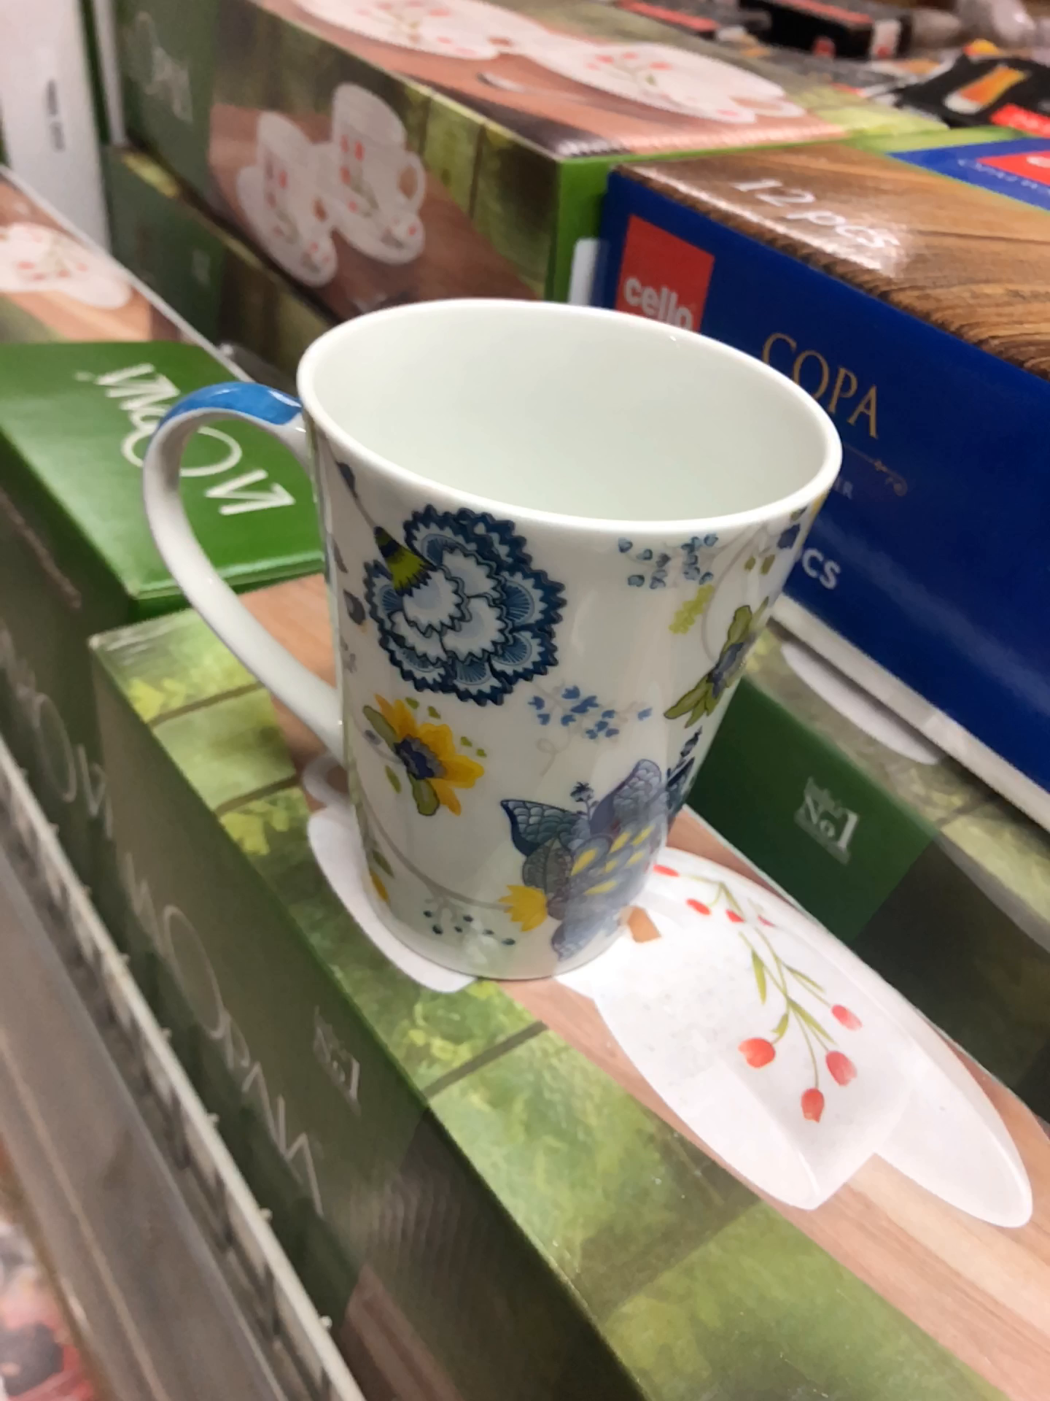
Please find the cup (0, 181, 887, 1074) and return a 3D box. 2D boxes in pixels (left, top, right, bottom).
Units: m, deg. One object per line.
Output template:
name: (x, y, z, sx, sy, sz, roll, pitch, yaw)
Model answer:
cup: (-0.018, -0.018, 0.181, 0.110, 0.079, 0.070, 22, 42, 19)
